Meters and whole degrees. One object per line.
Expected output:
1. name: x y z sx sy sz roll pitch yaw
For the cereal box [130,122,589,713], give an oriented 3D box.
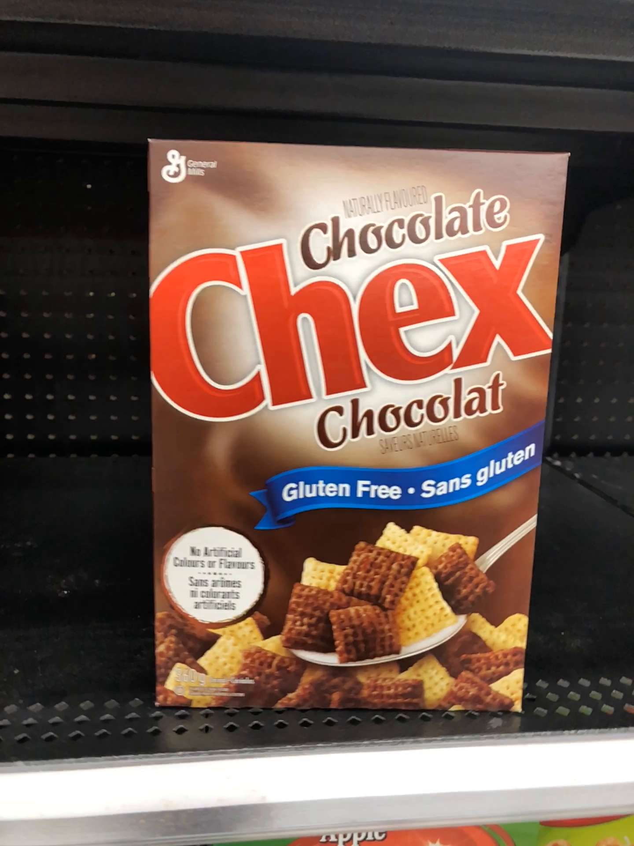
1. cereal box: 0.015 0.004 0.356 0.200 0.279 0.050 1 11 -1
